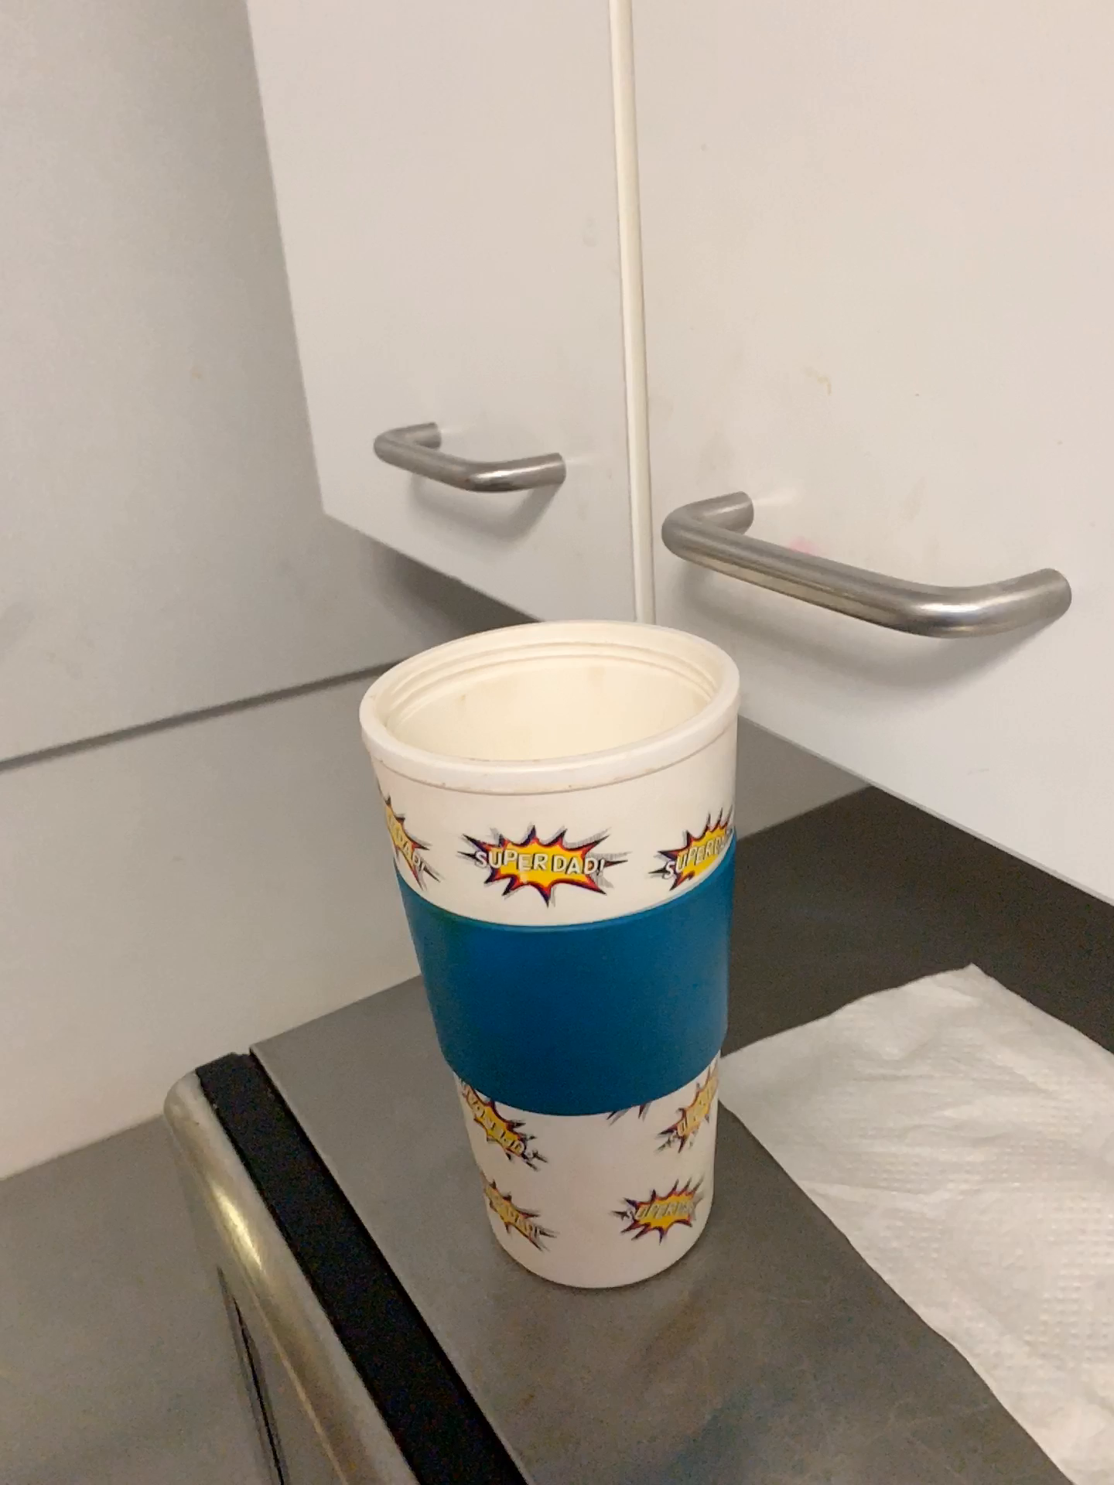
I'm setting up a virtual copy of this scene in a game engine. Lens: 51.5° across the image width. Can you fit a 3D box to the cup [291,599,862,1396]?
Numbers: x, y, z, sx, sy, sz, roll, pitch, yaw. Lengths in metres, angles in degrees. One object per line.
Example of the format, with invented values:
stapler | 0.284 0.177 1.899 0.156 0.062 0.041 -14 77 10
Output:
cup | 0.006 0.054 0.294 0.096 0.146 0.093 -4 23 2
